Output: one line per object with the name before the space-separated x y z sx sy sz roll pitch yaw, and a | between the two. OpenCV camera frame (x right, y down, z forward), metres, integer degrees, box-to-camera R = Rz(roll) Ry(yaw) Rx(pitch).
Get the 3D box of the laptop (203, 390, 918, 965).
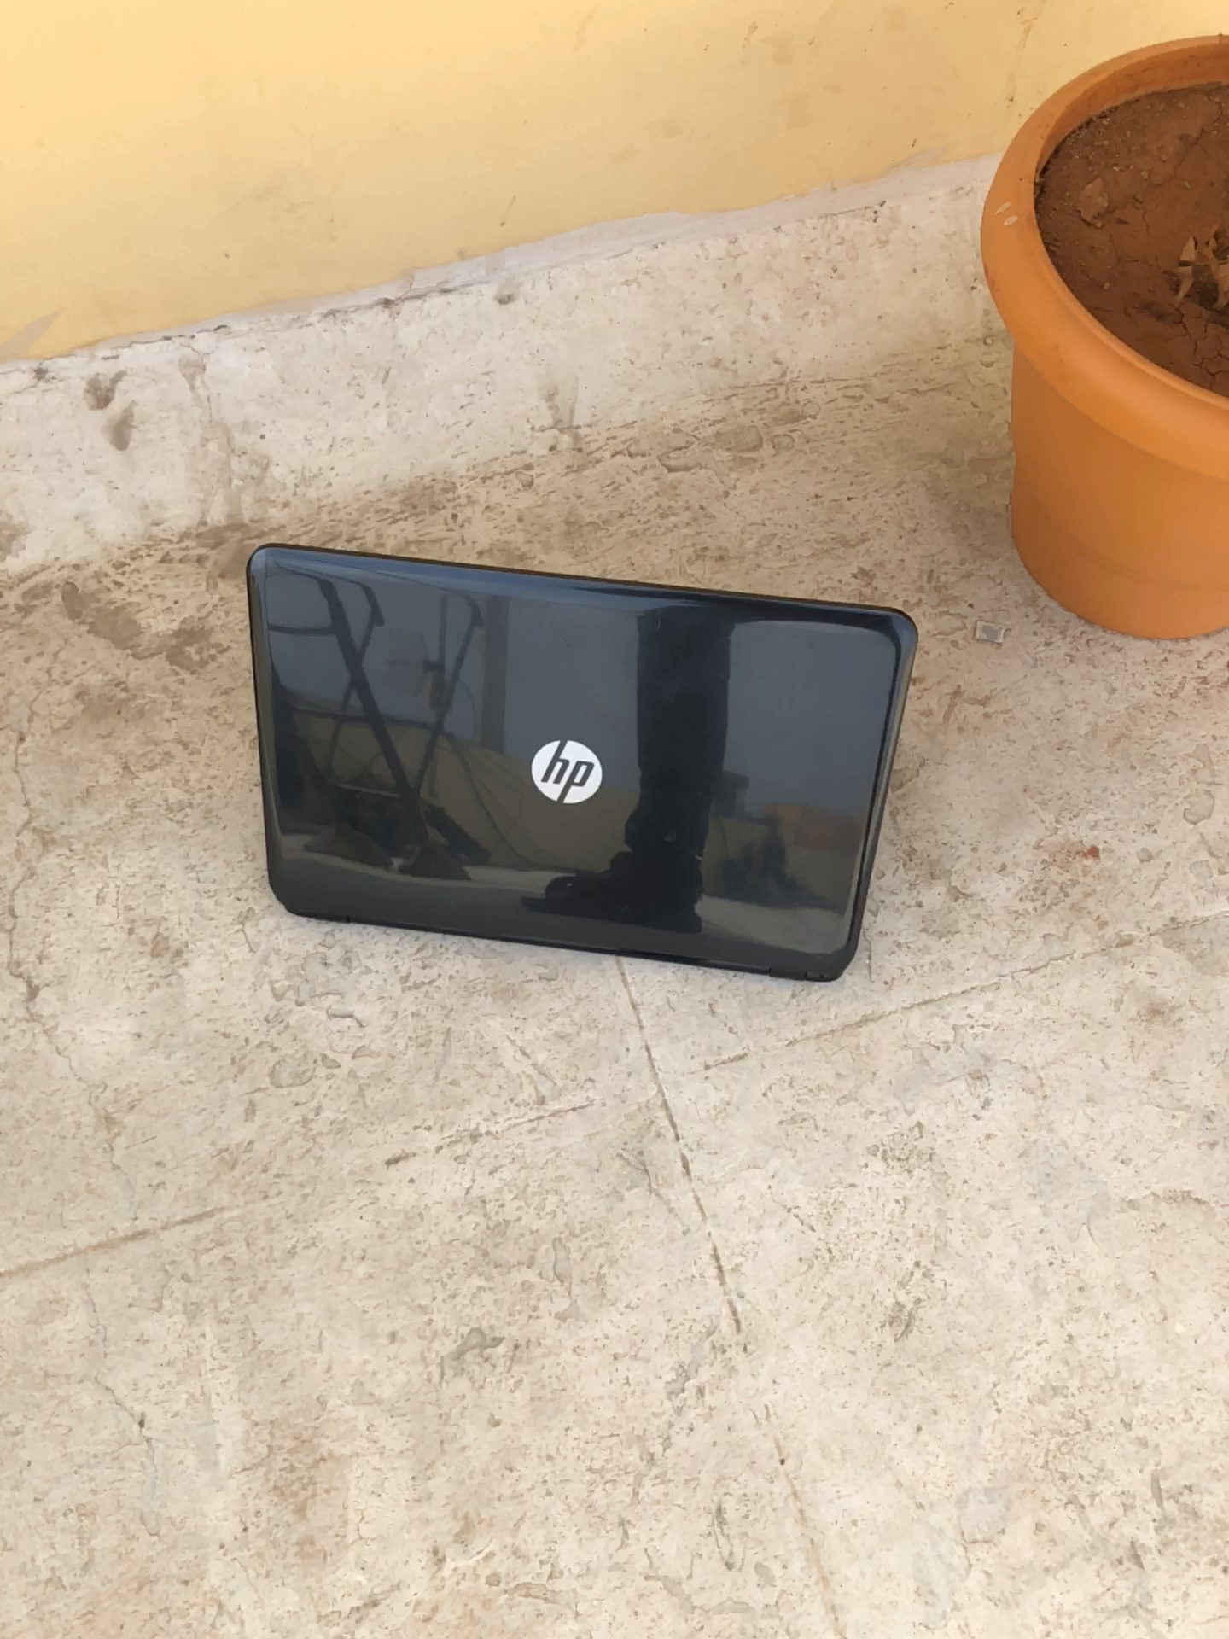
laptop | -0.019 -0.076 0.799 0.344 0.190 0.222 7 67 4
